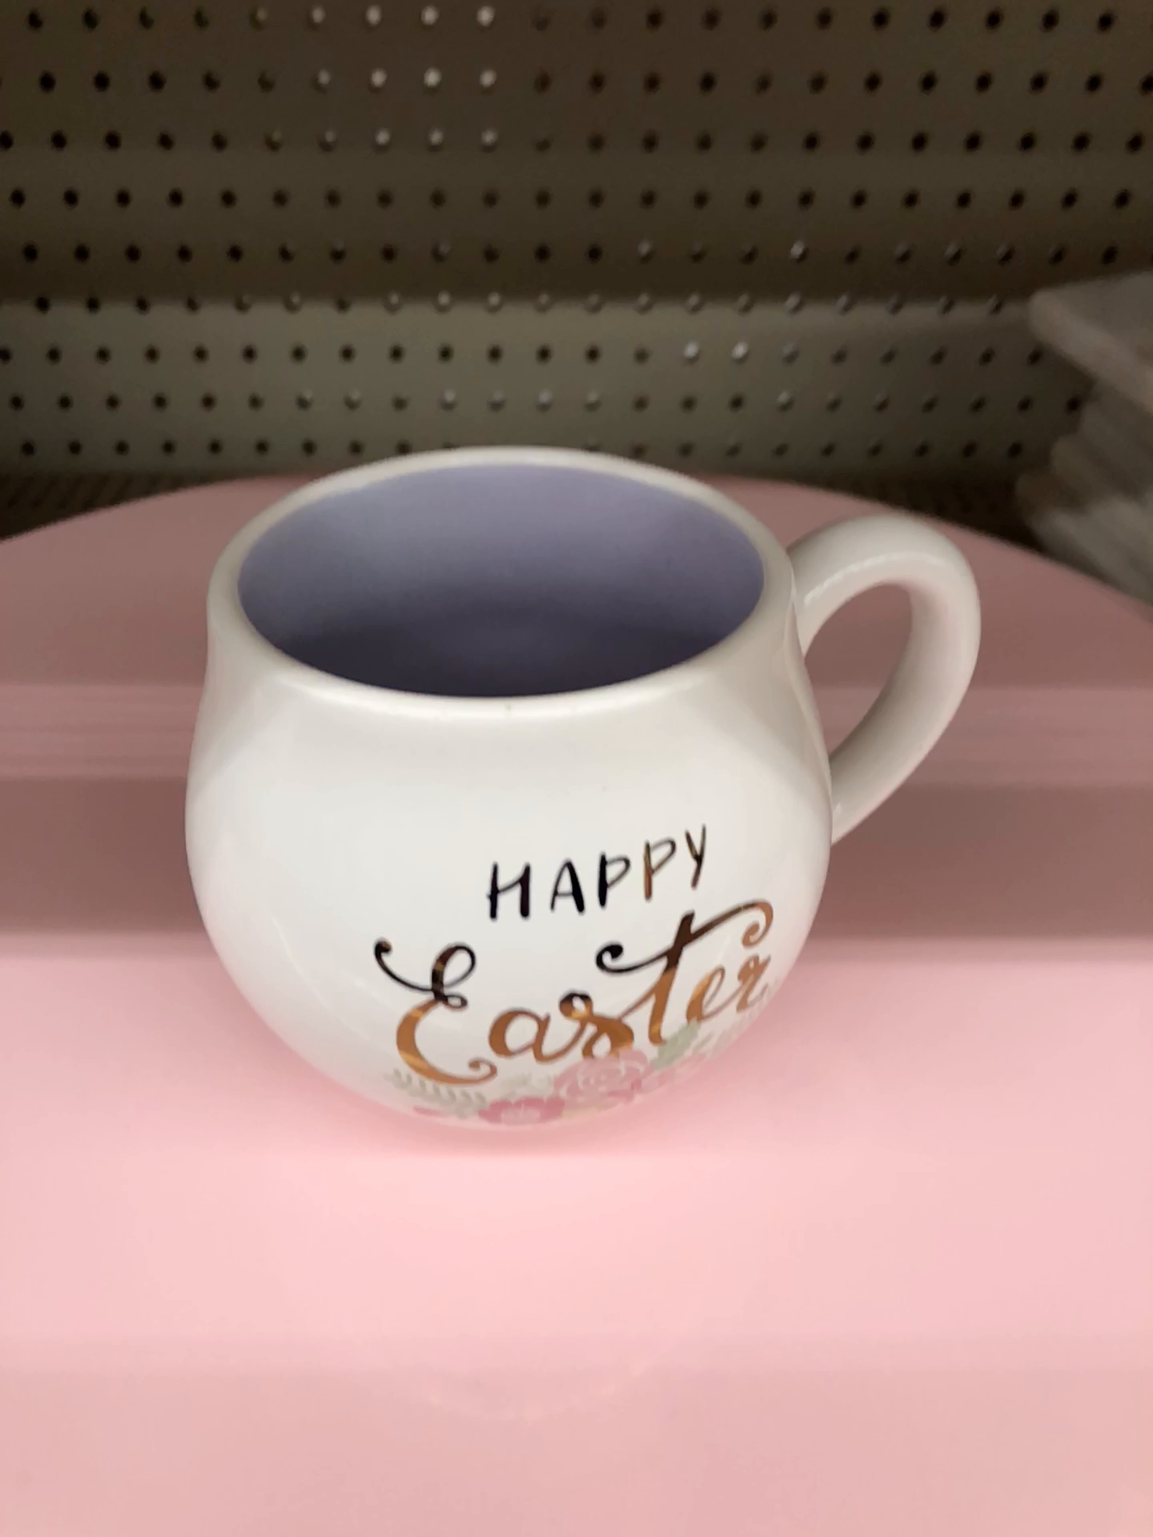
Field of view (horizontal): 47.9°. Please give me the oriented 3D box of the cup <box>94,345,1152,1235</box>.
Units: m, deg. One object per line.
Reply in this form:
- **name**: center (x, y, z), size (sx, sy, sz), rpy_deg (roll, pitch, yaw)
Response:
- **cup**: center (0.003, -0.007, 0.207), size (0.130, 0.080, 0.090), rpy_deg (-12, 37, -17)
